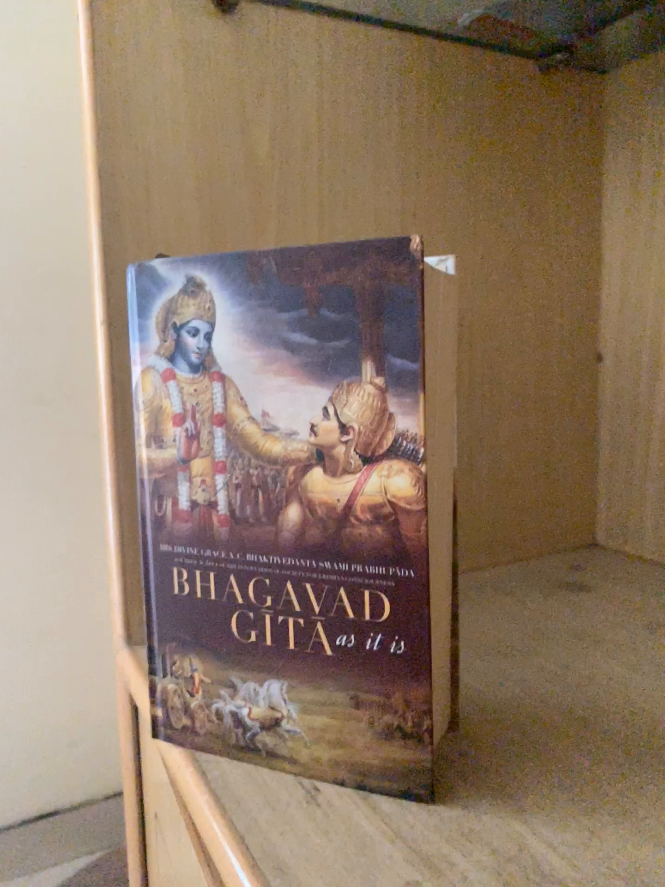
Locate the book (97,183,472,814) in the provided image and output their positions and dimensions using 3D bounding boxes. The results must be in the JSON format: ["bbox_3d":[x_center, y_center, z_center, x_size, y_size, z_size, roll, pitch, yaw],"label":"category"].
[{"bbox_3d":[-0.017,0.017,0.300,0.140,0.220,0.070,1,6,24],"label":"book"}]
